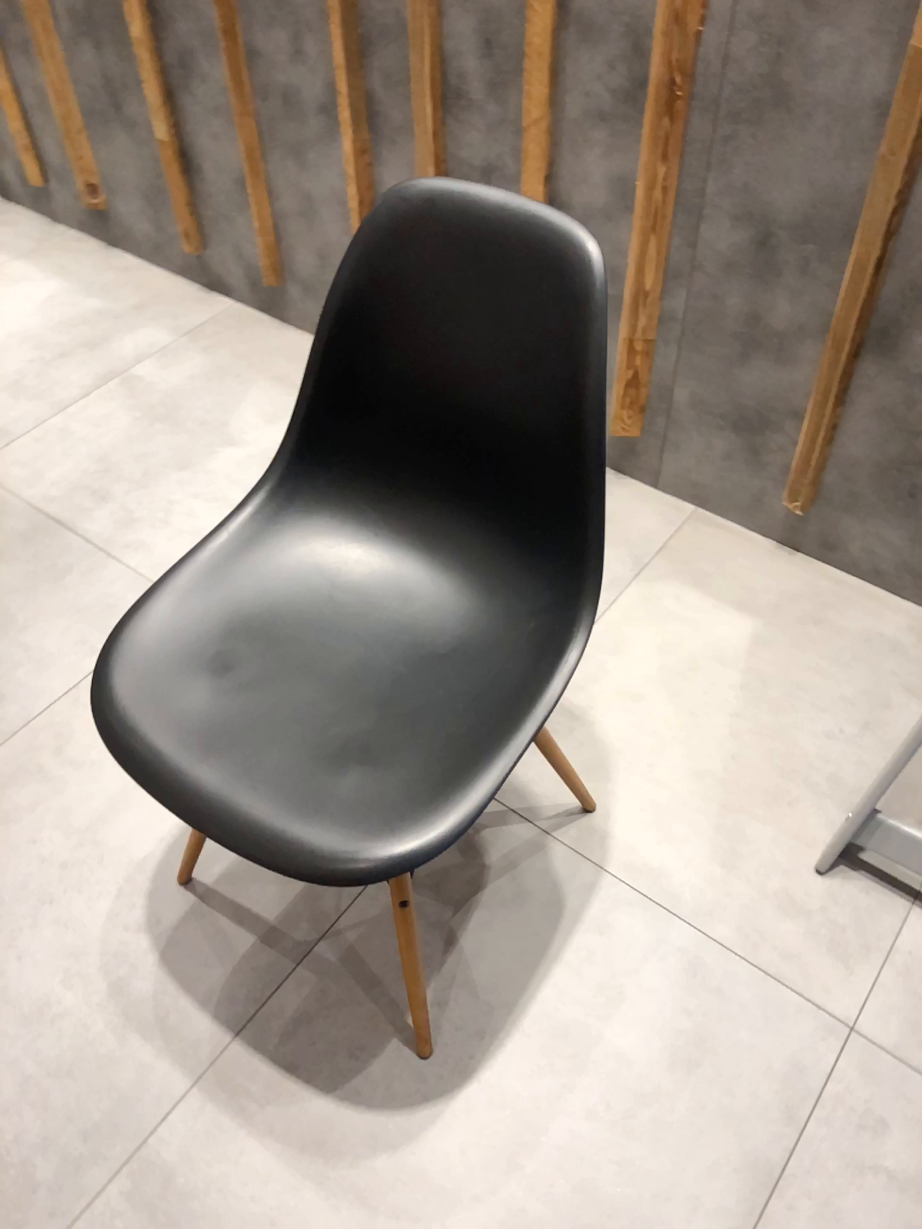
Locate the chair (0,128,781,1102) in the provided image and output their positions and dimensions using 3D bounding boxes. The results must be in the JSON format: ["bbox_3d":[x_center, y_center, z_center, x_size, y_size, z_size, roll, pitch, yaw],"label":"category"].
[{"bbox_3d":[-0.086,0.015,1.103,0.509,0.757,0.565,27,54,23],"label":"chair"}]
